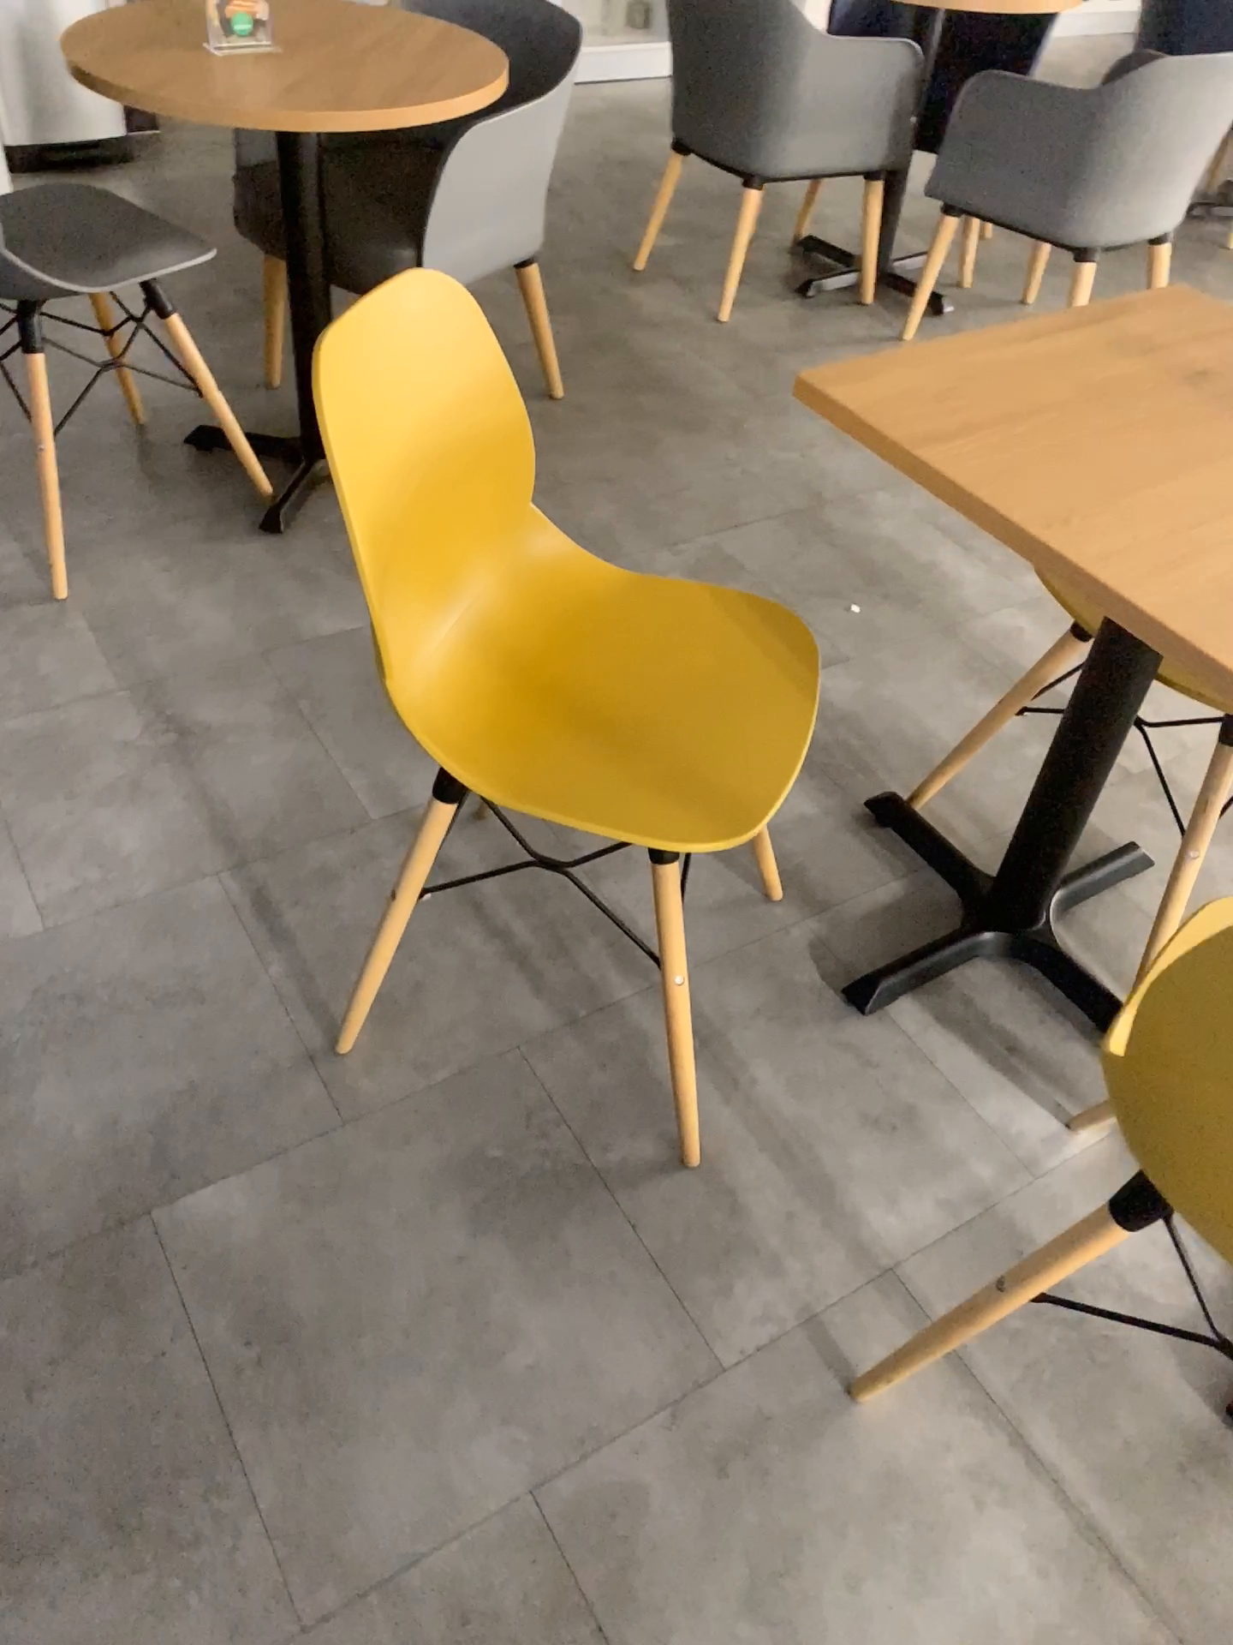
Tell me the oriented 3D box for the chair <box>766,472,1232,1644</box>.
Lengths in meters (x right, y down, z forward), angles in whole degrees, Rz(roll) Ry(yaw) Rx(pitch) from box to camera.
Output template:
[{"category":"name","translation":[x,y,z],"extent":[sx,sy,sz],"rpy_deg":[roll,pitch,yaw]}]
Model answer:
[{"category":"chair","translation":[0.546,0.258,1.005],"extent":[0.518,0.781,0.531],"rpy_deg":[34,50,27]}]

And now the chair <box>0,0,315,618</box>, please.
[{"category":"chair","translation":[-0.905,-0.873,2.039],"extent":[0.518,0.781,0.542],"rpy_deg":[31,48,24]}]

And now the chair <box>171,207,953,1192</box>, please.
[{"category":"chair","translation":[-0.035,-0.118,1.335],"extent":[0.519,0.781,0.521],"rpy_deg":[16,44,10]}]
